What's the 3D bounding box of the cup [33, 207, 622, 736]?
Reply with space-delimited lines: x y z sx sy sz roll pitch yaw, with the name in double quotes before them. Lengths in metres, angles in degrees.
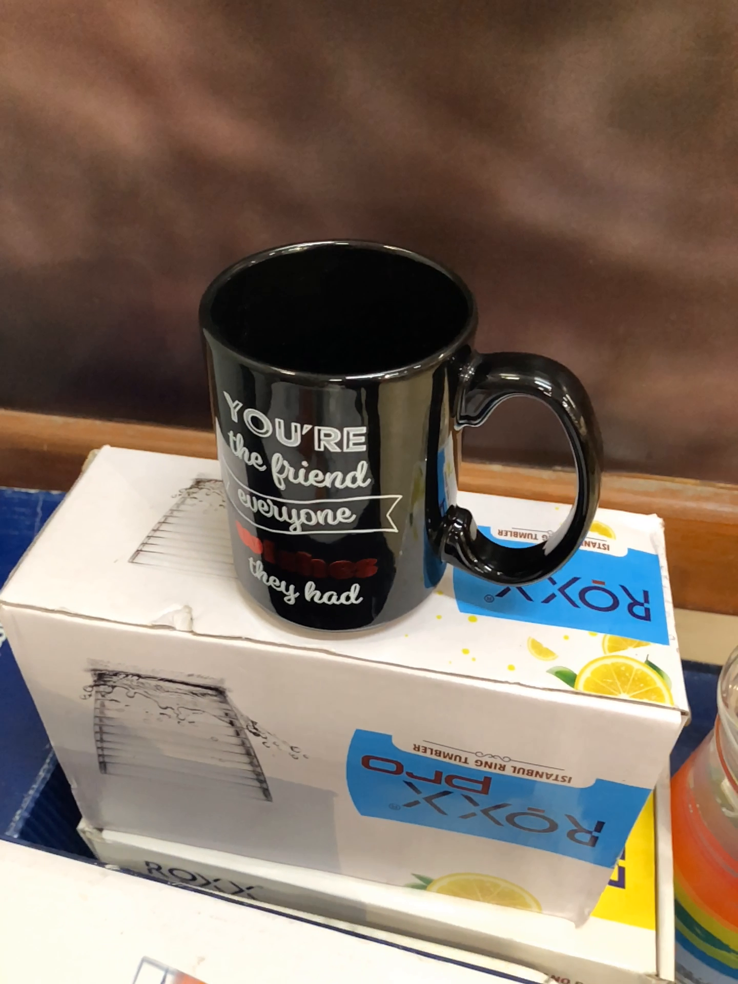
"cup" -0.001 -0.010 0.244 0.130 0.109 0.091 8 40 13
